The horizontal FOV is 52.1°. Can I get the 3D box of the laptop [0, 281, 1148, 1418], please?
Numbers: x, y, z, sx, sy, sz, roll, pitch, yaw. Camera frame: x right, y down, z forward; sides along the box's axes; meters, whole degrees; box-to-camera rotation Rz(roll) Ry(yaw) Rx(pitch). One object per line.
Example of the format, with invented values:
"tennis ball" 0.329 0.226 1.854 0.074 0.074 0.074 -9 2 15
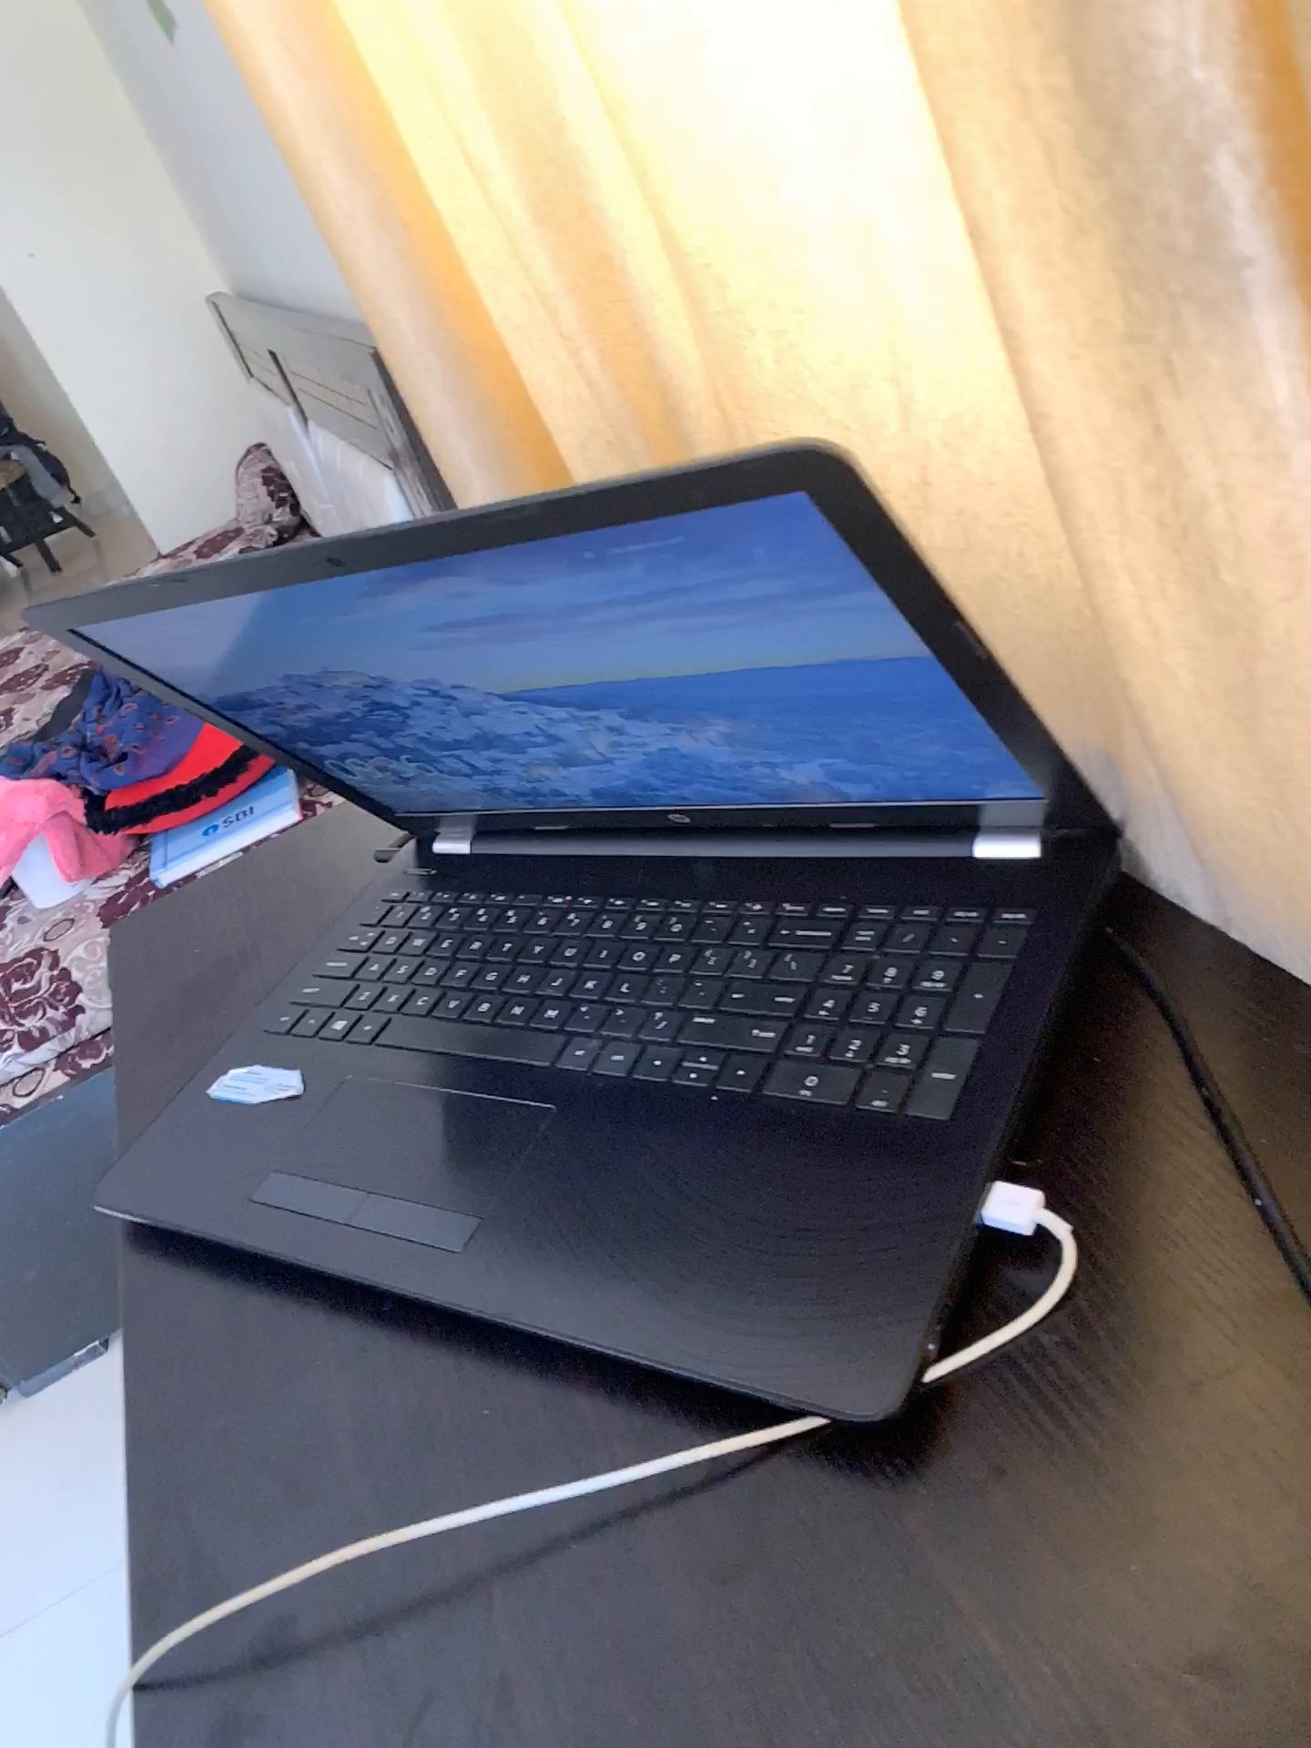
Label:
"laptop" -0.052 -0.018 0.484 0.363 0.201 0.238 1 40 39
